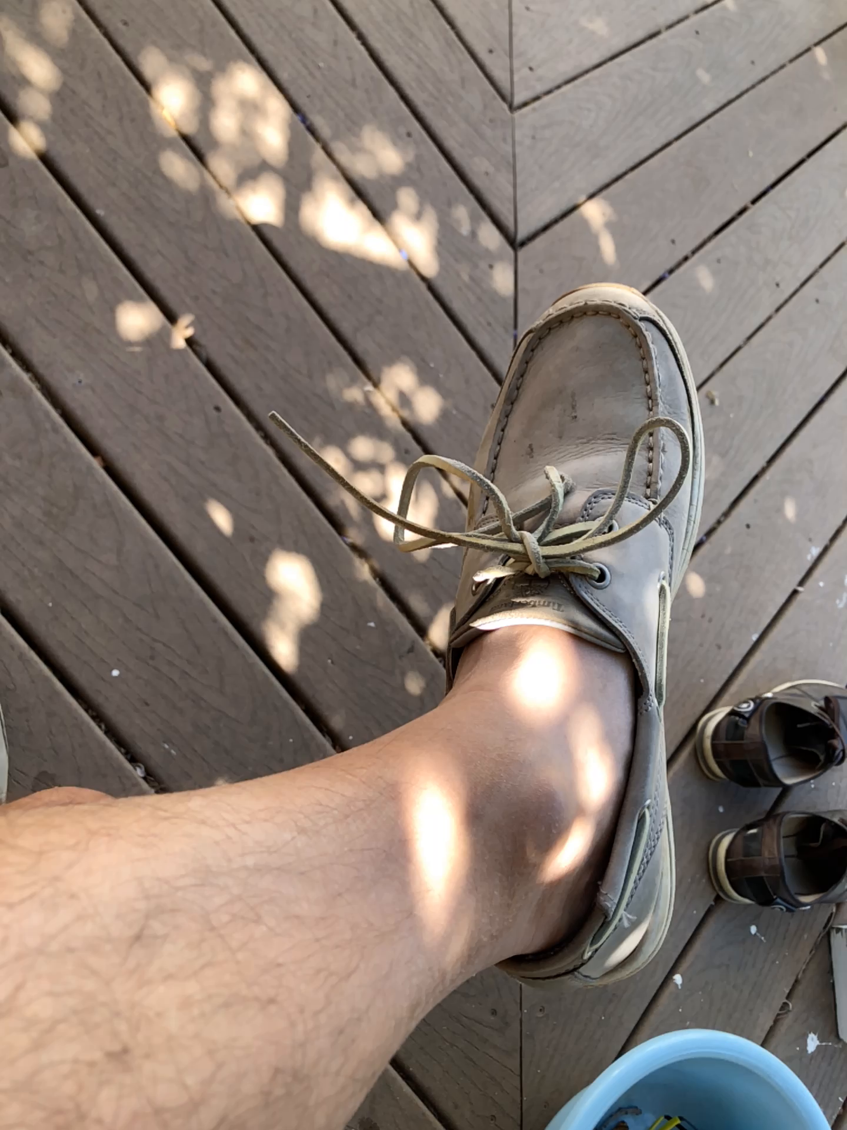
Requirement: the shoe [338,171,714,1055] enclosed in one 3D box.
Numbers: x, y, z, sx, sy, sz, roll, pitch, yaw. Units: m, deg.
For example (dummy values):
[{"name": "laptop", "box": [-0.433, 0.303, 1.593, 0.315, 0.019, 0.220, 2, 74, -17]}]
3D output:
[{"name": "shoe", "box": [0.055, 0.013, 0.381, 0.106, 0.113, 0.303, 39, 54, -64]}]
